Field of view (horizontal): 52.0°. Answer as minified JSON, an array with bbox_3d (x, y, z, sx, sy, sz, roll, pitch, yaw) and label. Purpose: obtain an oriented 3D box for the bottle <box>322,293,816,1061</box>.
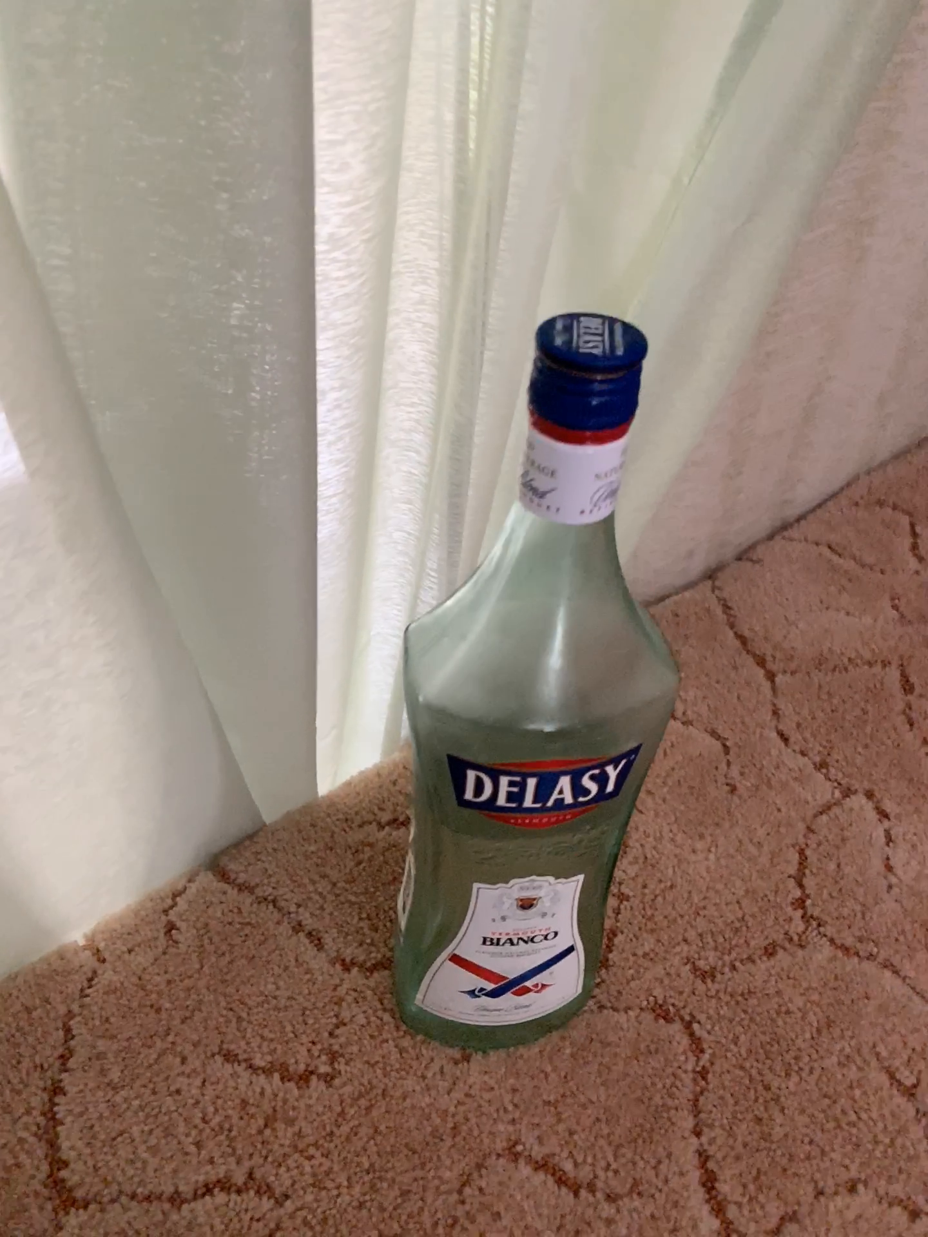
[{"bbox_3d":[0.018,0.055,0.341,0.110,0.327,0.061,-1,42,-4],"label":"bottle"}]
